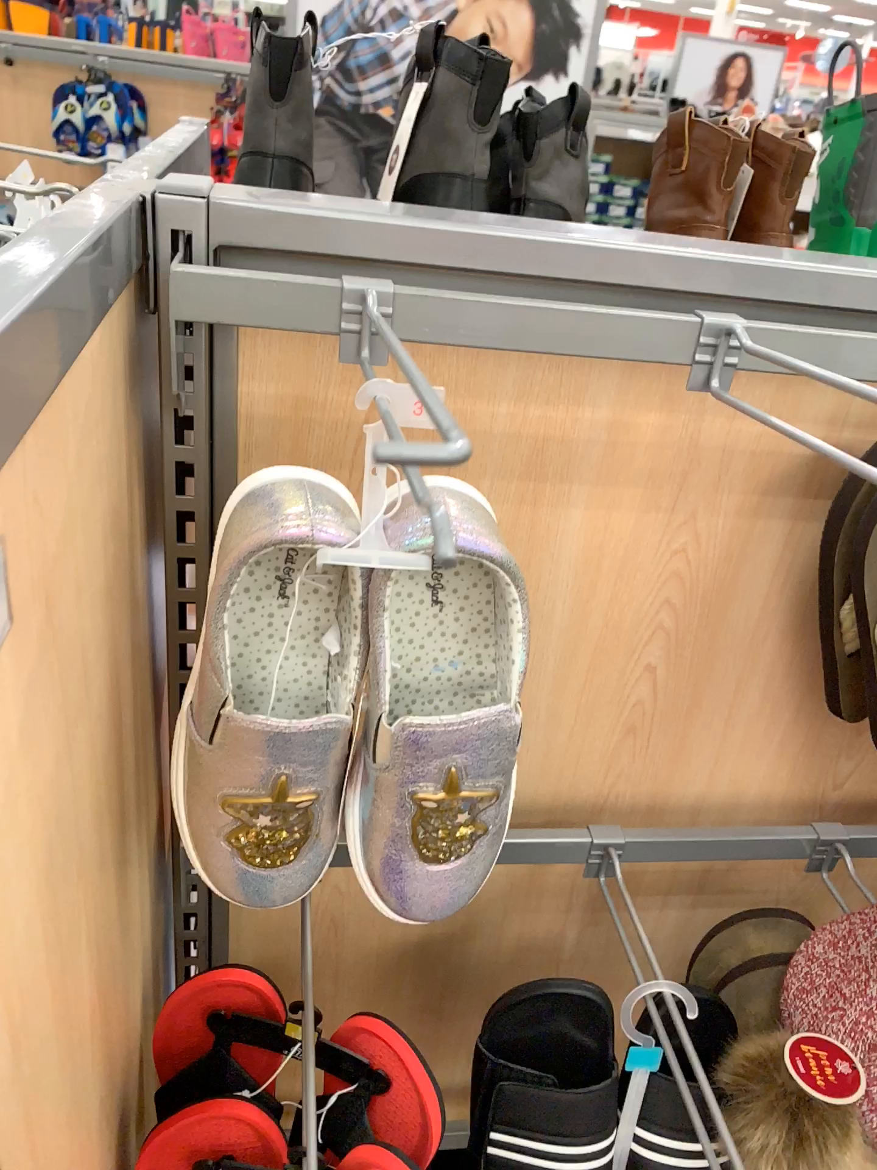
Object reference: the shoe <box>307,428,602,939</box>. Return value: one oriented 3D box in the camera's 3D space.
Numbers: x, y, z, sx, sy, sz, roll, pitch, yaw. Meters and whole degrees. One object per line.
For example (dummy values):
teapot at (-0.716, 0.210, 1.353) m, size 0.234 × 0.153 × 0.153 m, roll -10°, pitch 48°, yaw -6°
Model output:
shoe at (-0.006, 0.047, 0.451) m, size 0.100 × 0.220 × 0.114 m, roll 0°, pitch 26°, yaw -13°

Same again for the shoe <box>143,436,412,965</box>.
shoe at (-0.082, 0.054, 0.437) m, size 0.100 × 0.220 × 0.114 m, roll 0°, pitch 26°, yaw -13°
